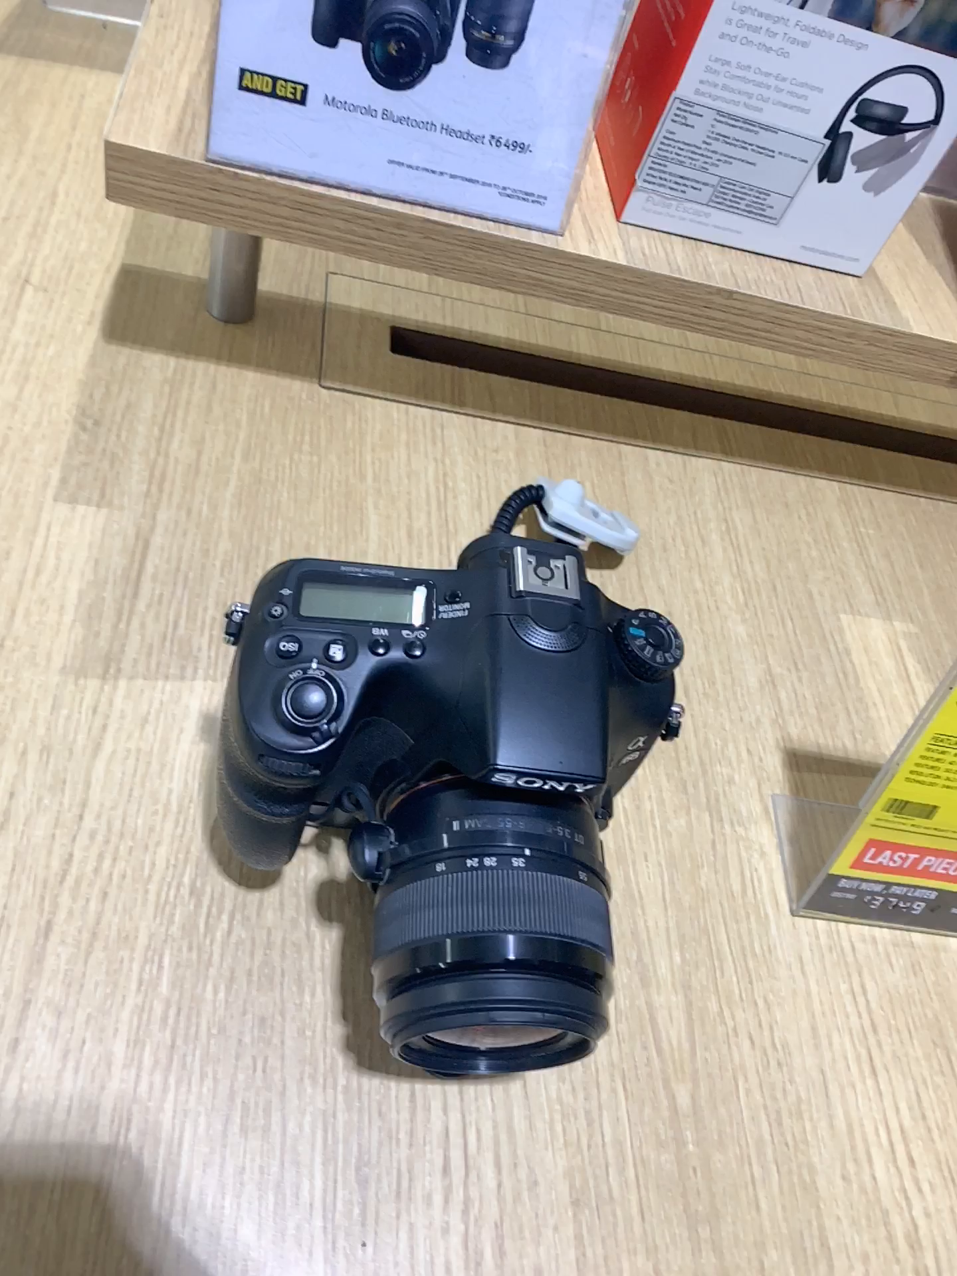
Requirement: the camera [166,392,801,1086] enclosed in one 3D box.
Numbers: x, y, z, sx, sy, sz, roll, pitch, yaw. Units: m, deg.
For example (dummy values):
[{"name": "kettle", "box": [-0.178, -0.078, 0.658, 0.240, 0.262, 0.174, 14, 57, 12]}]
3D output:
[{"name": "camera", "box": [-0.006, 0.031, 0.297, 0.140, 0.090, 0.170, 9, 53, -13]}]
